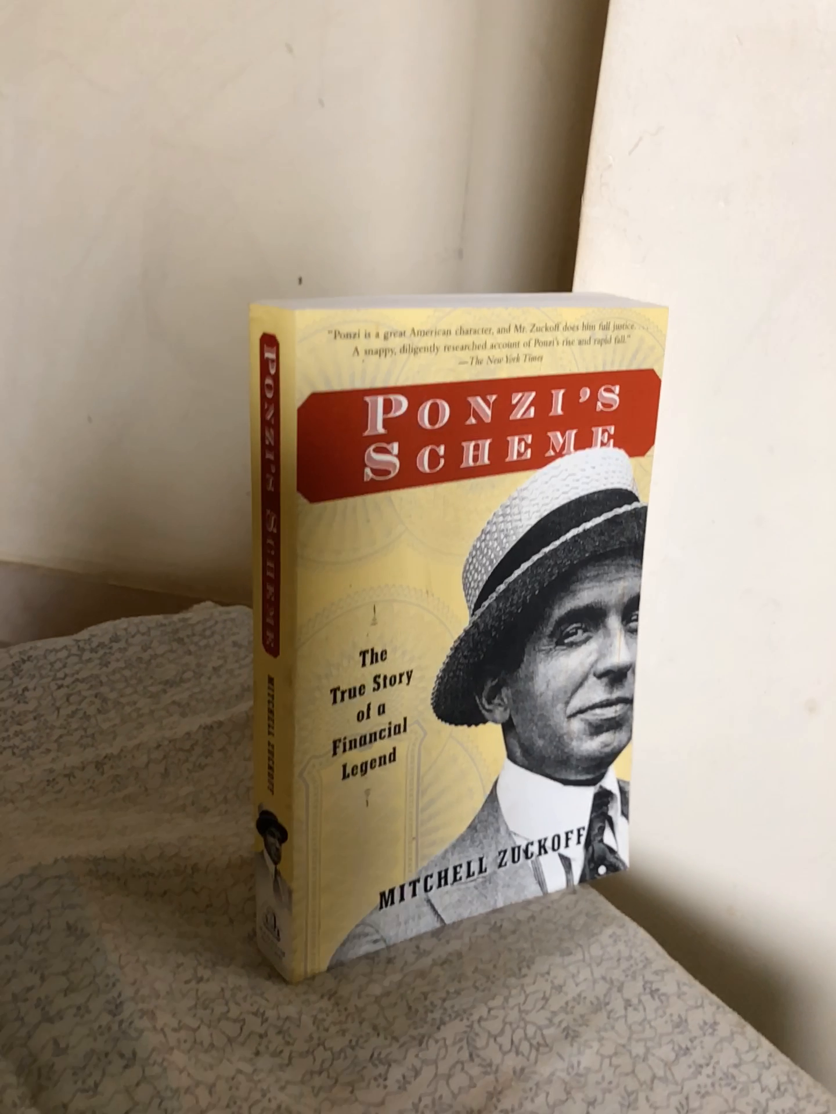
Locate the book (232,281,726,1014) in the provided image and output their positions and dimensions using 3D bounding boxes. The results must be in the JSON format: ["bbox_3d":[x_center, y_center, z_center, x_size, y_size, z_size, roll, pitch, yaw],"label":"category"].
[{"bbox_3d":[0.018,0.023,0.297,0.140,0.209,0.040,-10,23,-30],"label":"book"}]
